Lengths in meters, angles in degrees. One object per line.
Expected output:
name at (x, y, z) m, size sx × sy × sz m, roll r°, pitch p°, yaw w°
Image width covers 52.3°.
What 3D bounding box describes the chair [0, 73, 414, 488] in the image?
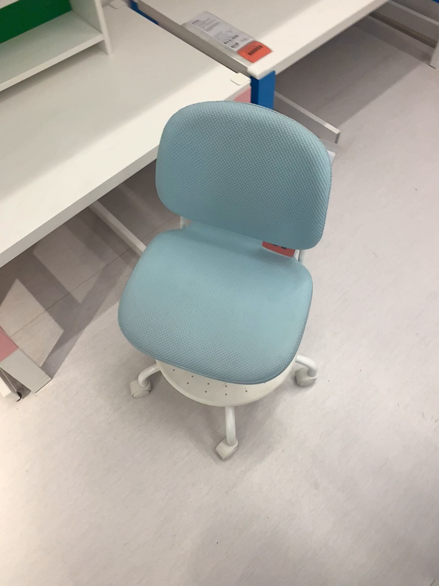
chair at (0.012, 0.016, 1.083) m, size 0.580 × 0.679 × 0.611 m, roll 17°, pitch 63°, yaw 12°
